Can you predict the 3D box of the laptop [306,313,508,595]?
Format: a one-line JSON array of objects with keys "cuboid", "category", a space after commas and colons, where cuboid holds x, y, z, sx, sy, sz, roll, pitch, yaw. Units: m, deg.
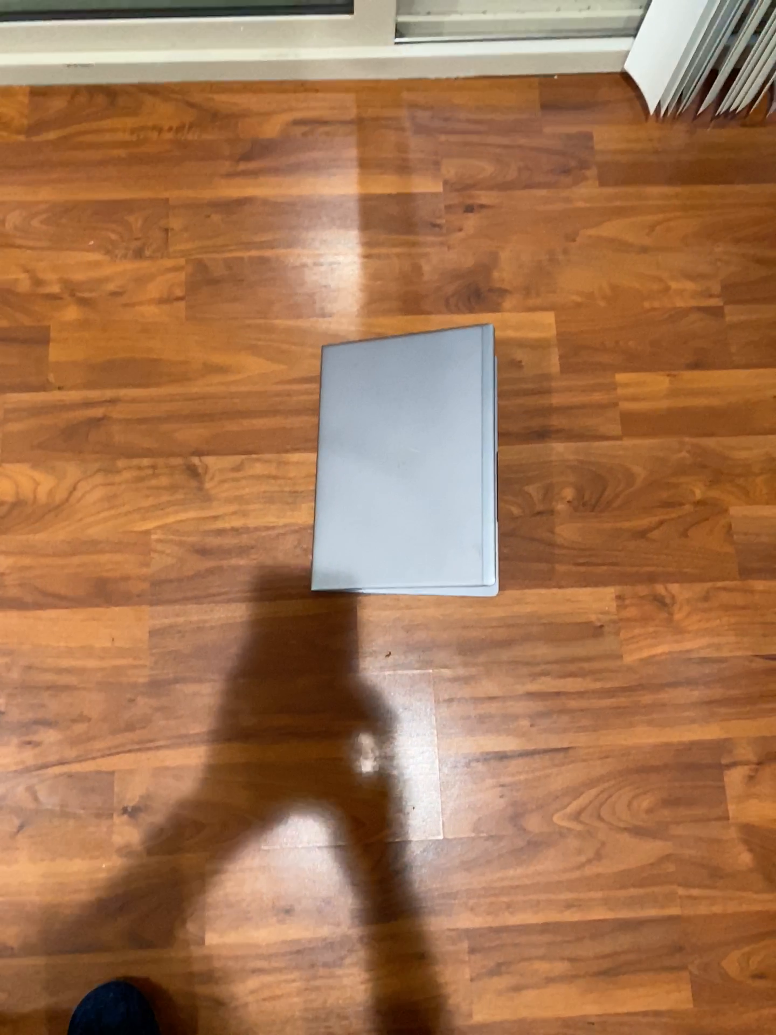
[{"cuboid": [0.025, -0.076, 0.966, 0.230, 0.078, 0.325, 2, 77, -3], "category": "laptop"}]
